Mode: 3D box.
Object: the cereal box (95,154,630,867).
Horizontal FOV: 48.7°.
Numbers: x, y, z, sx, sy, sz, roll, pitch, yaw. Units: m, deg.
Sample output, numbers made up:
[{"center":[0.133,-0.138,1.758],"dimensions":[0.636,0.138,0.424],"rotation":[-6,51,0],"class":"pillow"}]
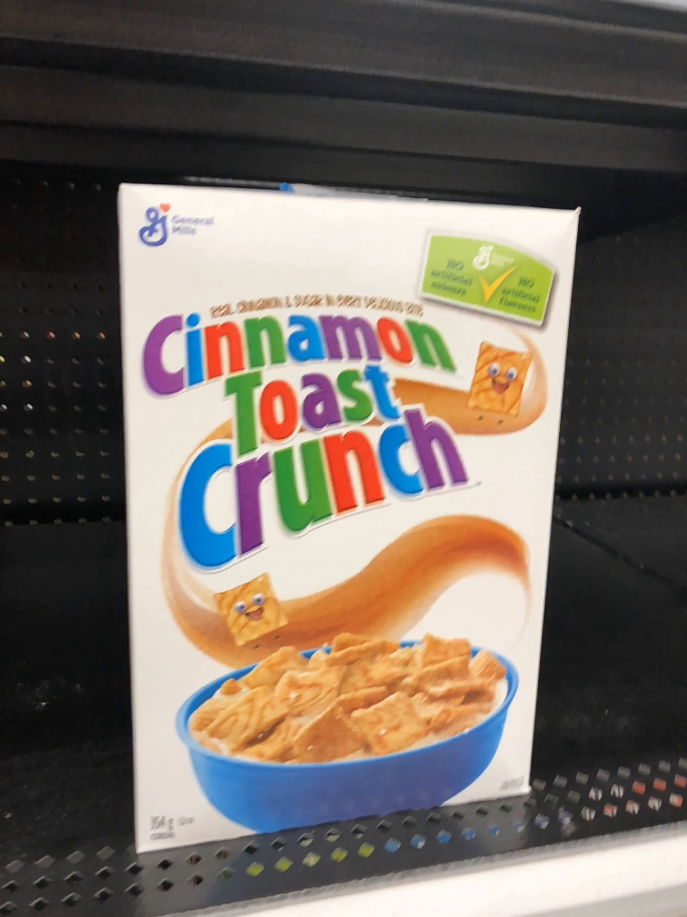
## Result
[{"center":[0.007,0.024,0.337],"dimensions":[0.210,0.279,0.050],"rotation":[-2,12,-15],"class":"cereal box"}]
